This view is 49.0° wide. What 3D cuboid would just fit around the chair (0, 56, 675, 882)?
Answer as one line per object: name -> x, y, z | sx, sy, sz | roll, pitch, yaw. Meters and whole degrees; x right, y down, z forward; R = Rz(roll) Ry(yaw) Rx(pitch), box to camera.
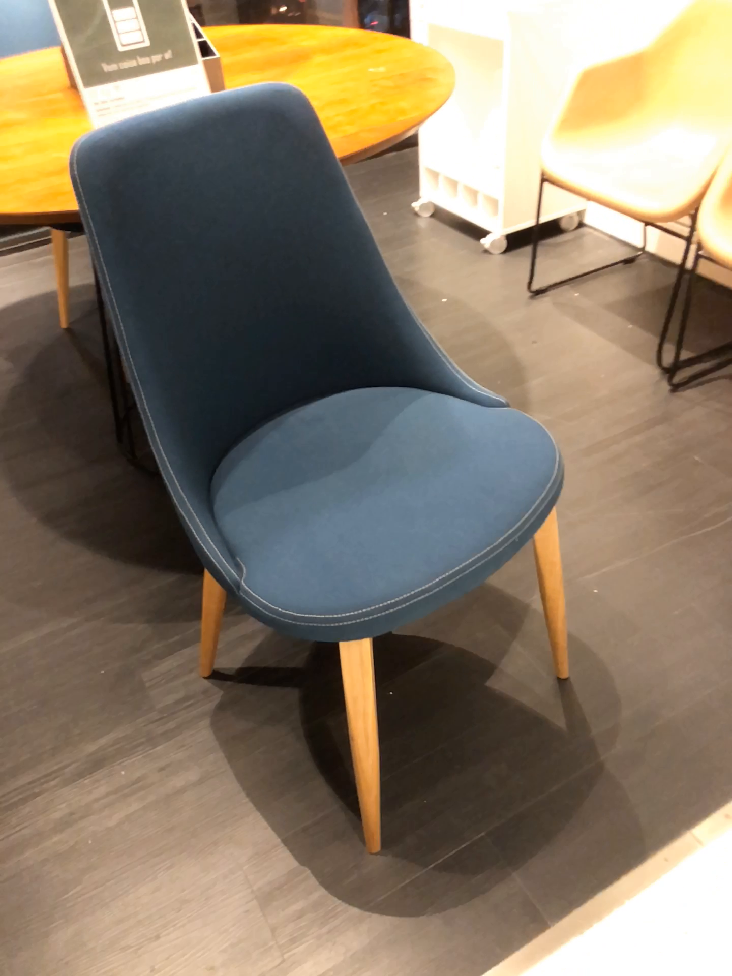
chair -> -0.035, -0.036, 1.109 | 0.521, 0.854, 0.542 | -32, 46, -29
